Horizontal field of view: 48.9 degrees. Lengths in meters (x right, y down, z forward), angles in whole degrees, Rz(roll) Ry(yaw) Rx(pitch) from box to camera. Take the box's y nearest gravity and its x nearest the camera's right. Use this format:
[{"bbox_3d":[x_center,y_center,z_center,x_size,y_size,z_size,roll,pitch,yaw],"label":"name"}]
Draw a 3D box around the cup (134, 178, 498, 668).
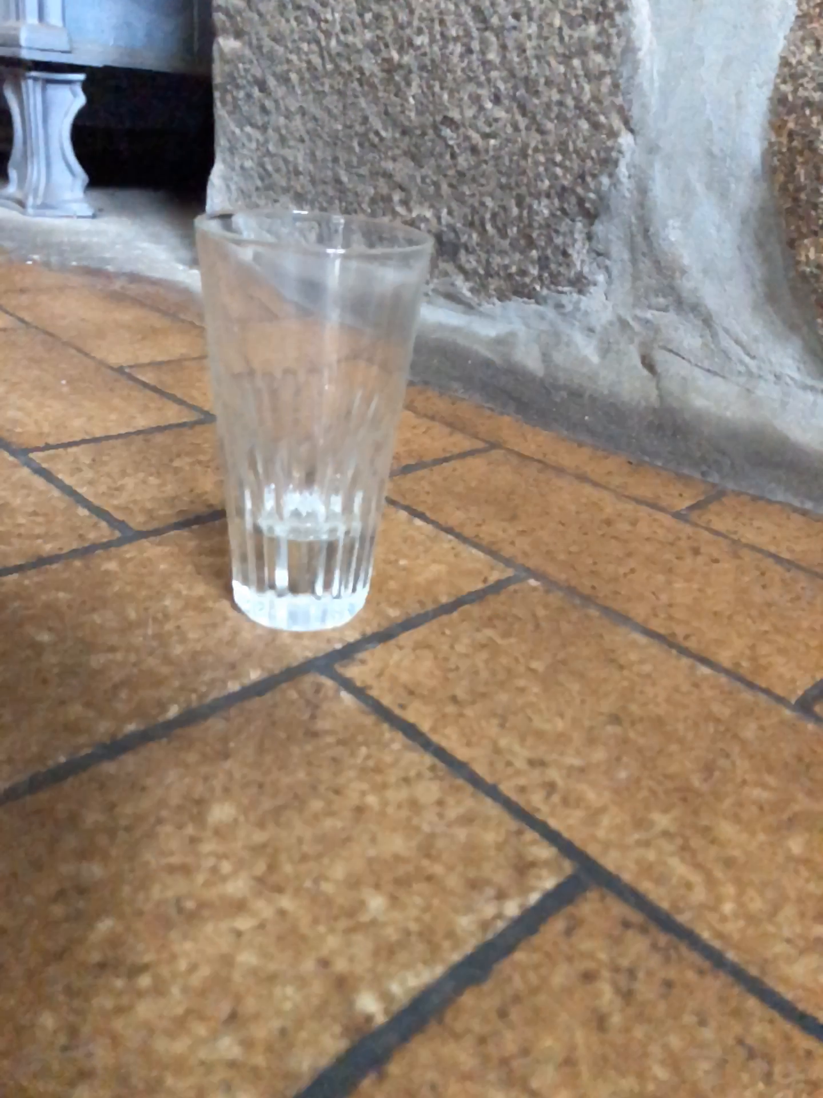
[{"bbox_3d":[-0.029,-0.043,0.272,0.070,0.119,0.070,5,26,-2],"label":"cup"}]
